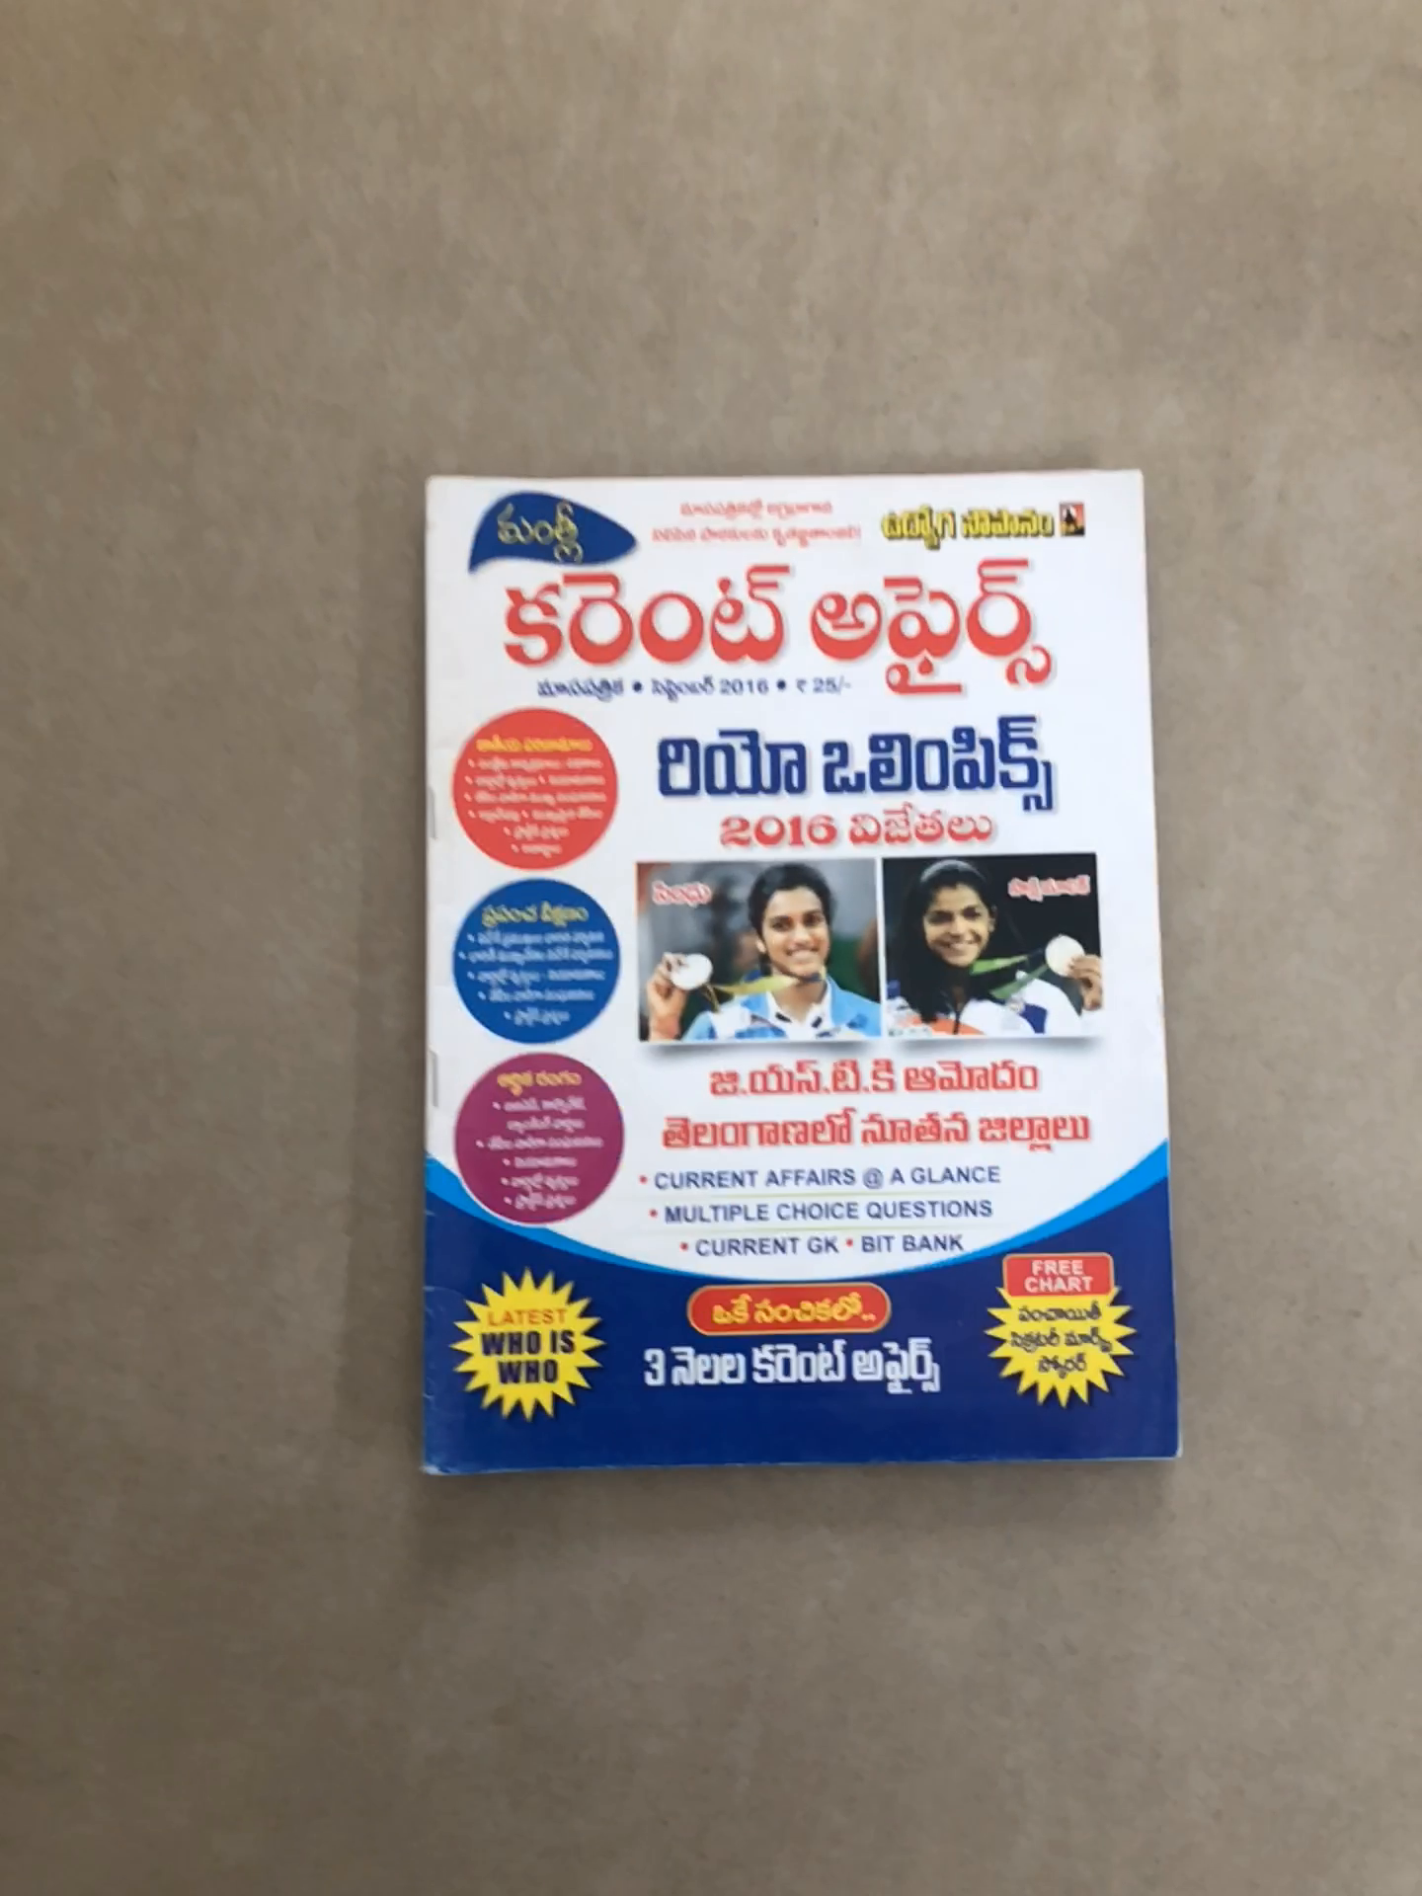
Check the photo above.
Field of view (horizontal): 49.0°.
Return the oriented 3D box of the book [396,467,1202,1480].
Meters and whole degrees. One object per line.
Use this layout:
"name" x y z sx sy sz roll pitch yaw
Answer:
"book" 0.021 0.003 0.405 0.200 0.010 0.260 0 84 0
